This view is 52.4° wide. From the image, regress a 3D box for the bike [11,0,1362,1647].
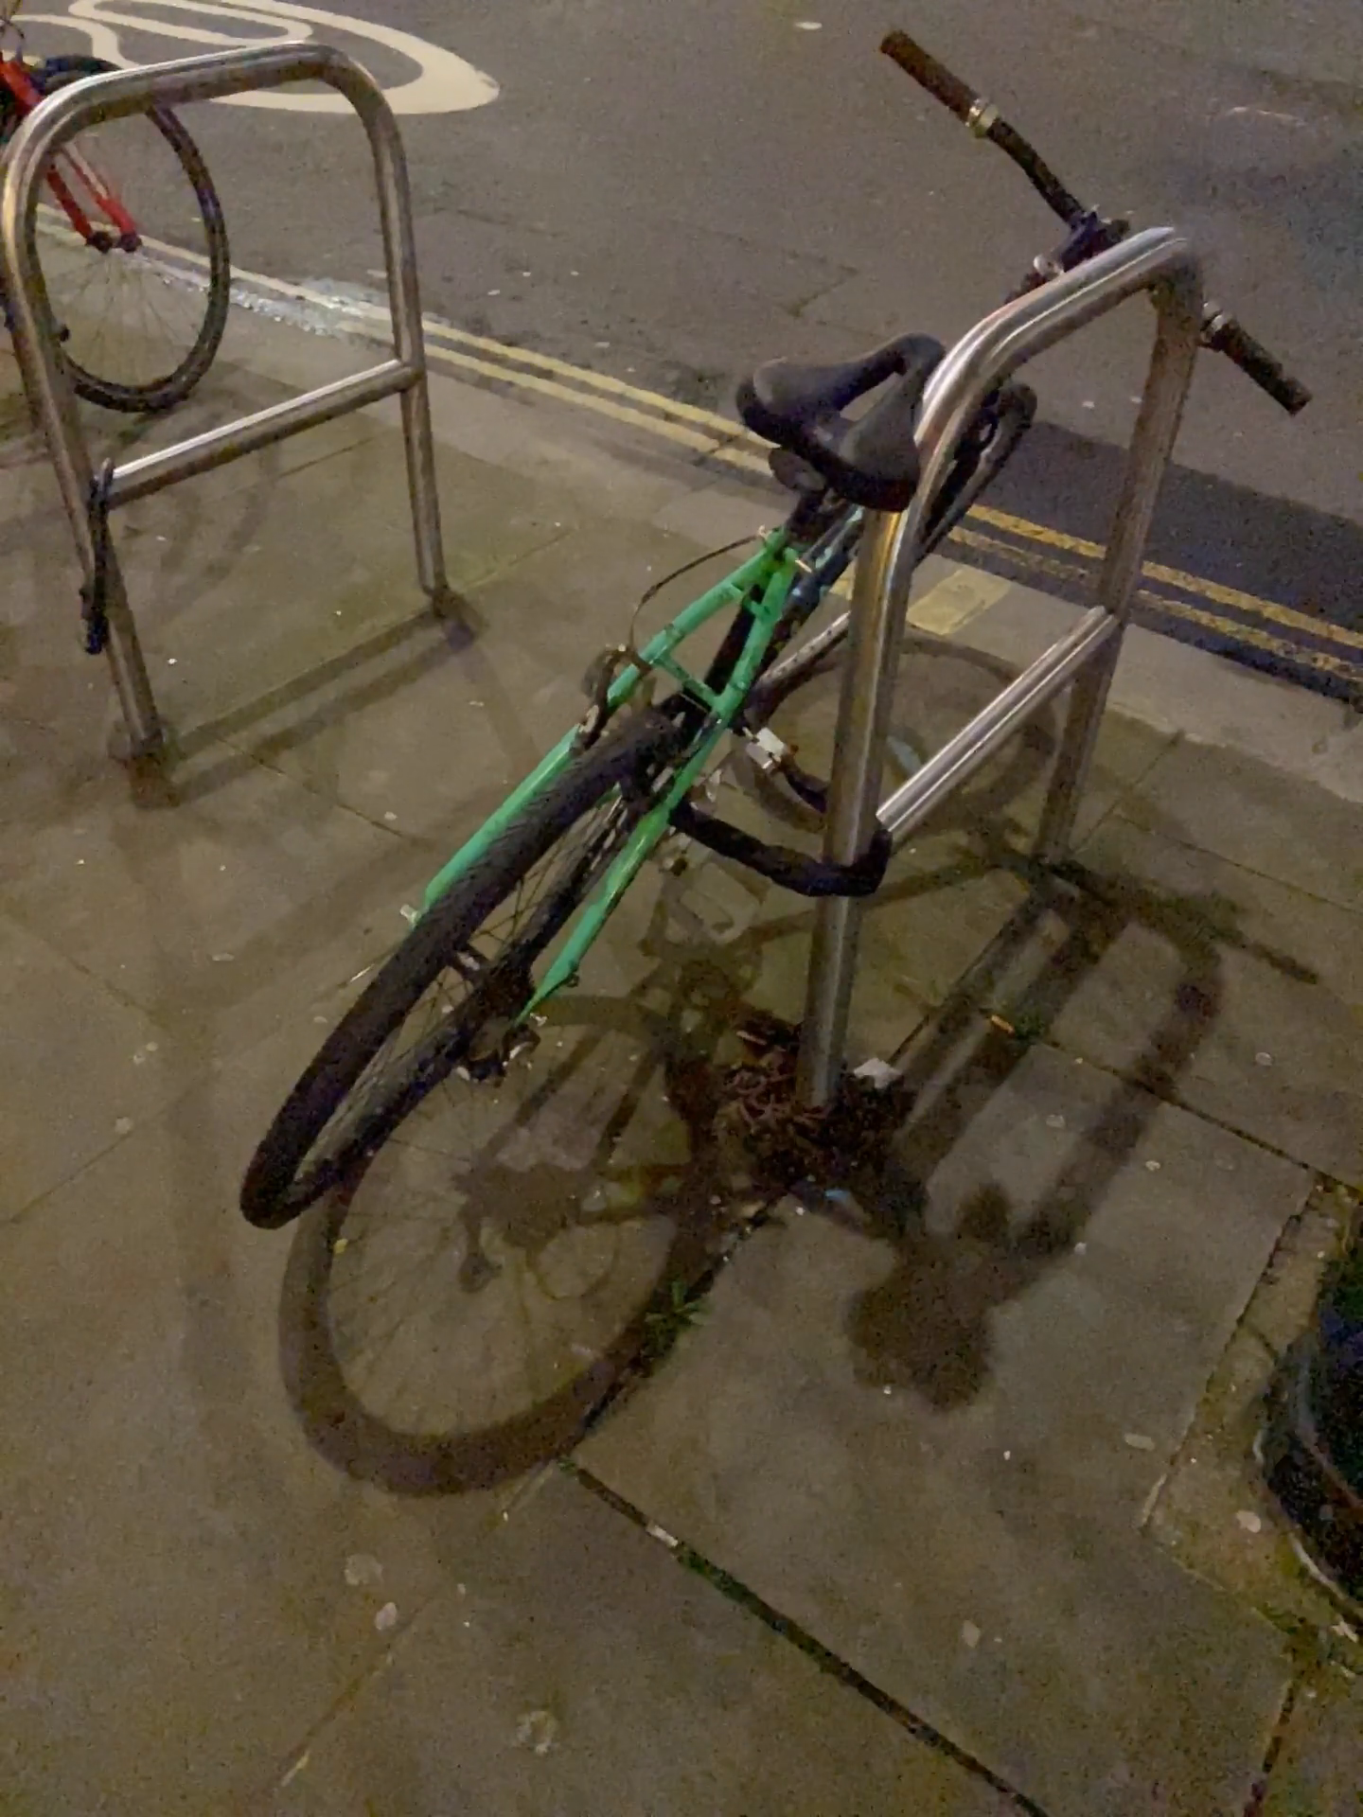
[{"bbox_3d":[0.310,-0.303,1.573,0.639,1.014,1.695,21,45,21],"label":"bike"}]
